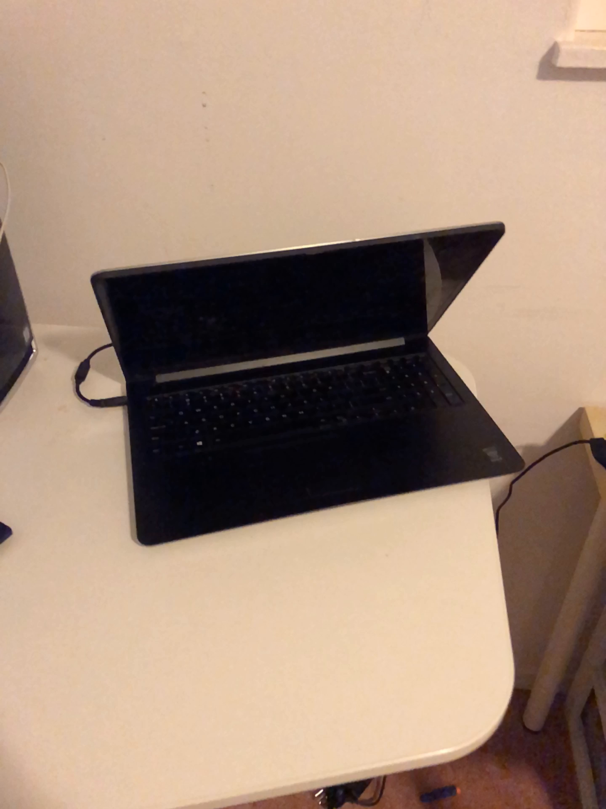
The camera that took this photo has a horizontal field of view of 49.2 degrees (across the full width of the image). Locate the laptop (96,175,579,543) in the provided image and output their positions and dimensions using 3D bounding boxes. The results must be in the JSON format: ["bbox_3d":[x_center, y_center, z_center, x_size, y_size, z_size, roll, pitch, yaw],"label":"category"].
[{"bbox_3d":[0.007,-0.063,0.657,0.373,0.207,0.252,-10,38,-10],"label":"laptop"}]
